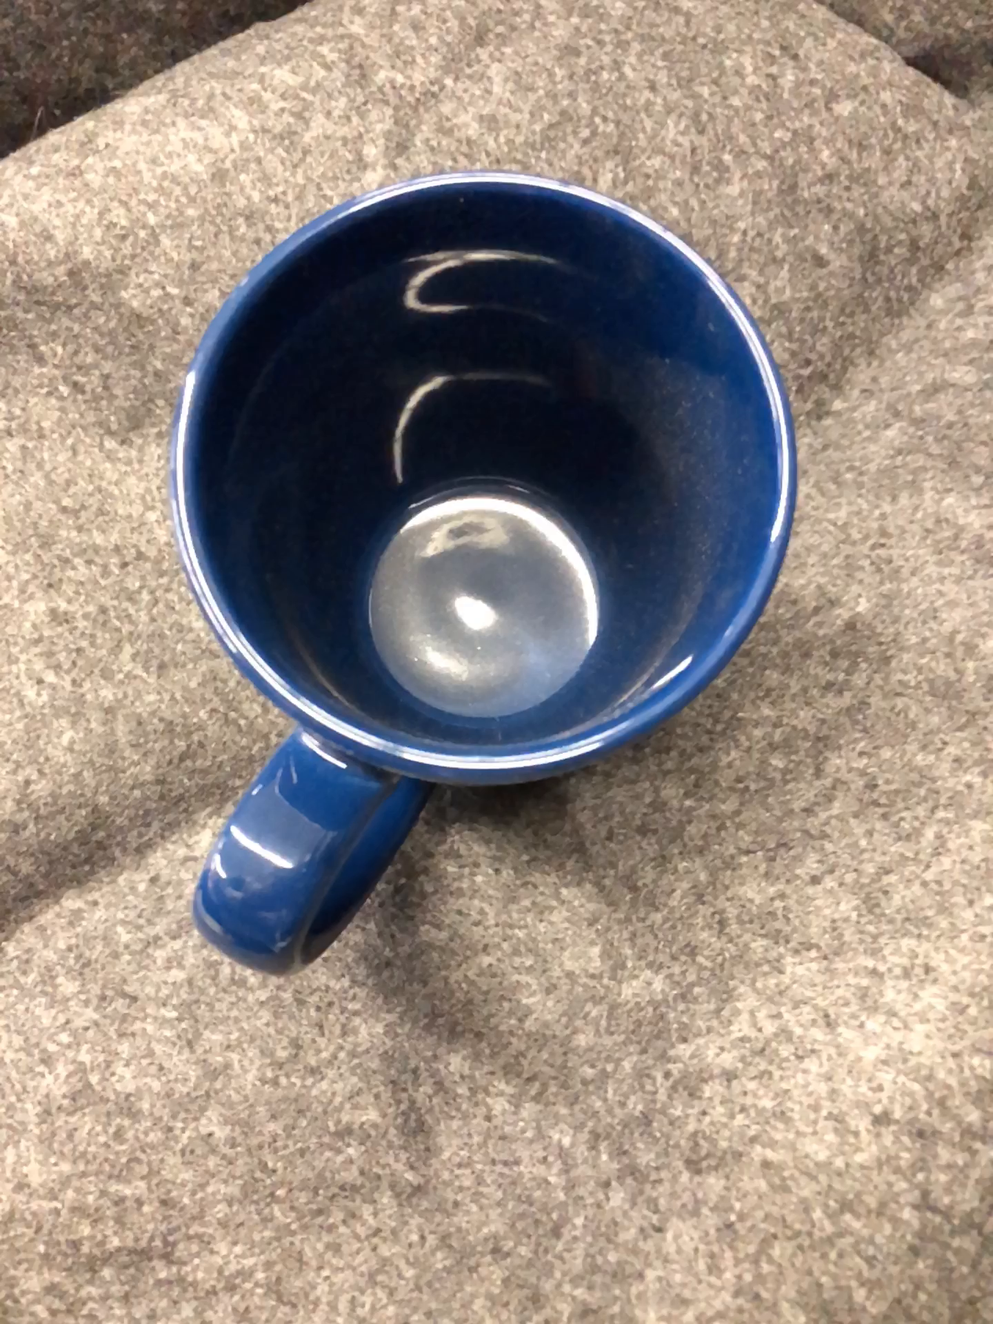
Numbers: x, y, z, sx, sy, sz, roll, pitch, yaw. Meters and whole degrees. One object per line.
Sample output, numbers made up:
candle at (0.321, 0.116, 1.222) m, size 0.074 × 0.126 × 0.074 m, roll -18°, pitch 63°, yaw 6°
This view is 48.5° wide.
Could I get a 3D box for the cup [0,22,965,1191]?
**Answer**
cup at (-0.011, -0.005, 0.198) m, size 0.090 × 0.110 × 0.130 m, roll 34°, pitch 79°, yaw 7°
